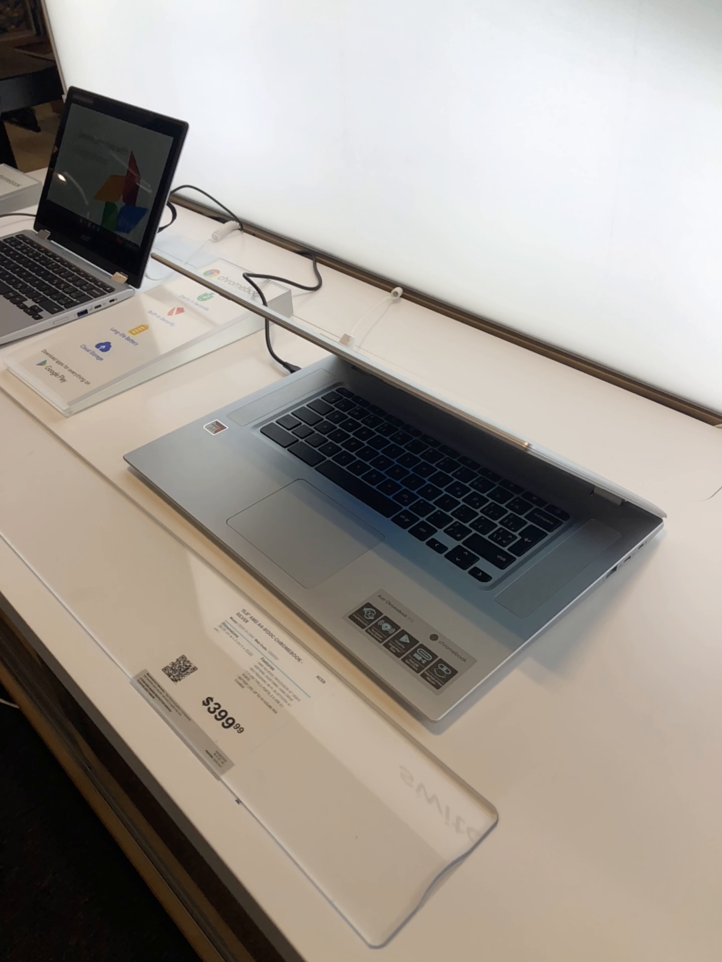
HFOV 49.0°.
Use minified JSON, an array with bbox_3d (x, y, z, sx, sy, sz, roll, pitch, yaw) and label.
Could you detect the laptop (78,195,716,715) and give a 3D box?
[{"bbox_3d":[0.009,-0.061,0.596,0.255,0.166,0.369,-30,45,-31],"label":"laptop"}]
